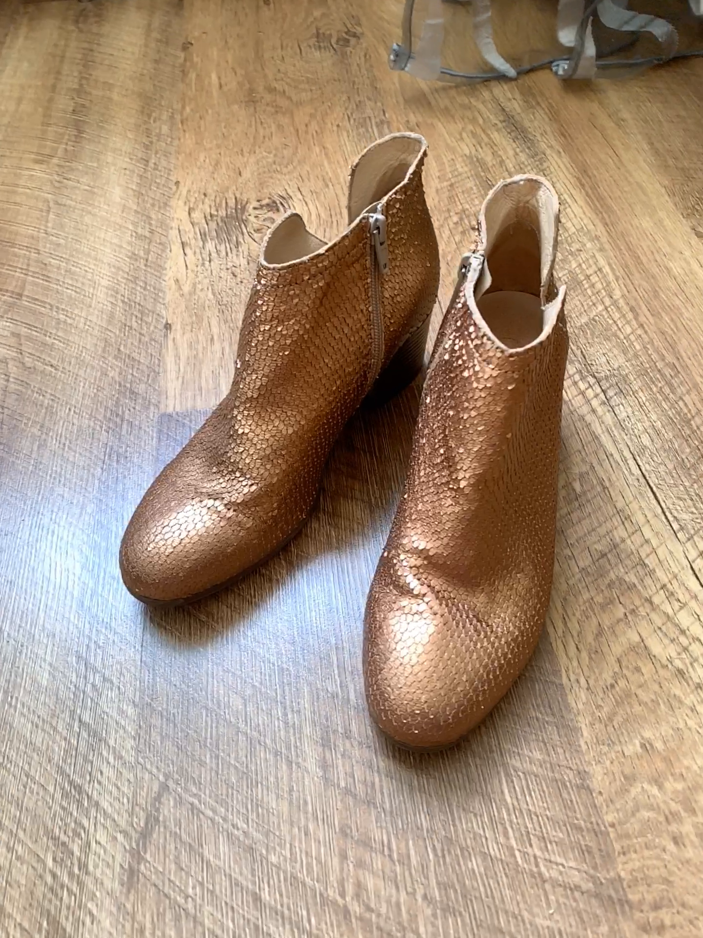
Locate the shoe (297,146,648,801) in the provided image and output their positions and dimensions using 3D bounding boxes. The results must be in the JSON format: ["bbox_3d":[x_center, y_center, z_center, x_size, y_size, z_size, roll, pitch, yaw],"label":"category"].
[{"bbox_3d":[0.057,-0.008,0.292,0.080,0.129,0.221,11,53,11],"label":"shoe"}]

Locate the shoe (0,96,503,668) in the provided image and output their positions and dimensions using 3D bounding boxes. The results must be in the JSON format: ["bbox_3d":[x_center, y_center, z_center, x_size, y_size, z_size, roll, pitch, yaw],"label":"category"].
[{"bbox_3d":[-0.034,-0.045,0.320,0.080,0.129,0.220,31,59,24],"label":"shoe"}]
